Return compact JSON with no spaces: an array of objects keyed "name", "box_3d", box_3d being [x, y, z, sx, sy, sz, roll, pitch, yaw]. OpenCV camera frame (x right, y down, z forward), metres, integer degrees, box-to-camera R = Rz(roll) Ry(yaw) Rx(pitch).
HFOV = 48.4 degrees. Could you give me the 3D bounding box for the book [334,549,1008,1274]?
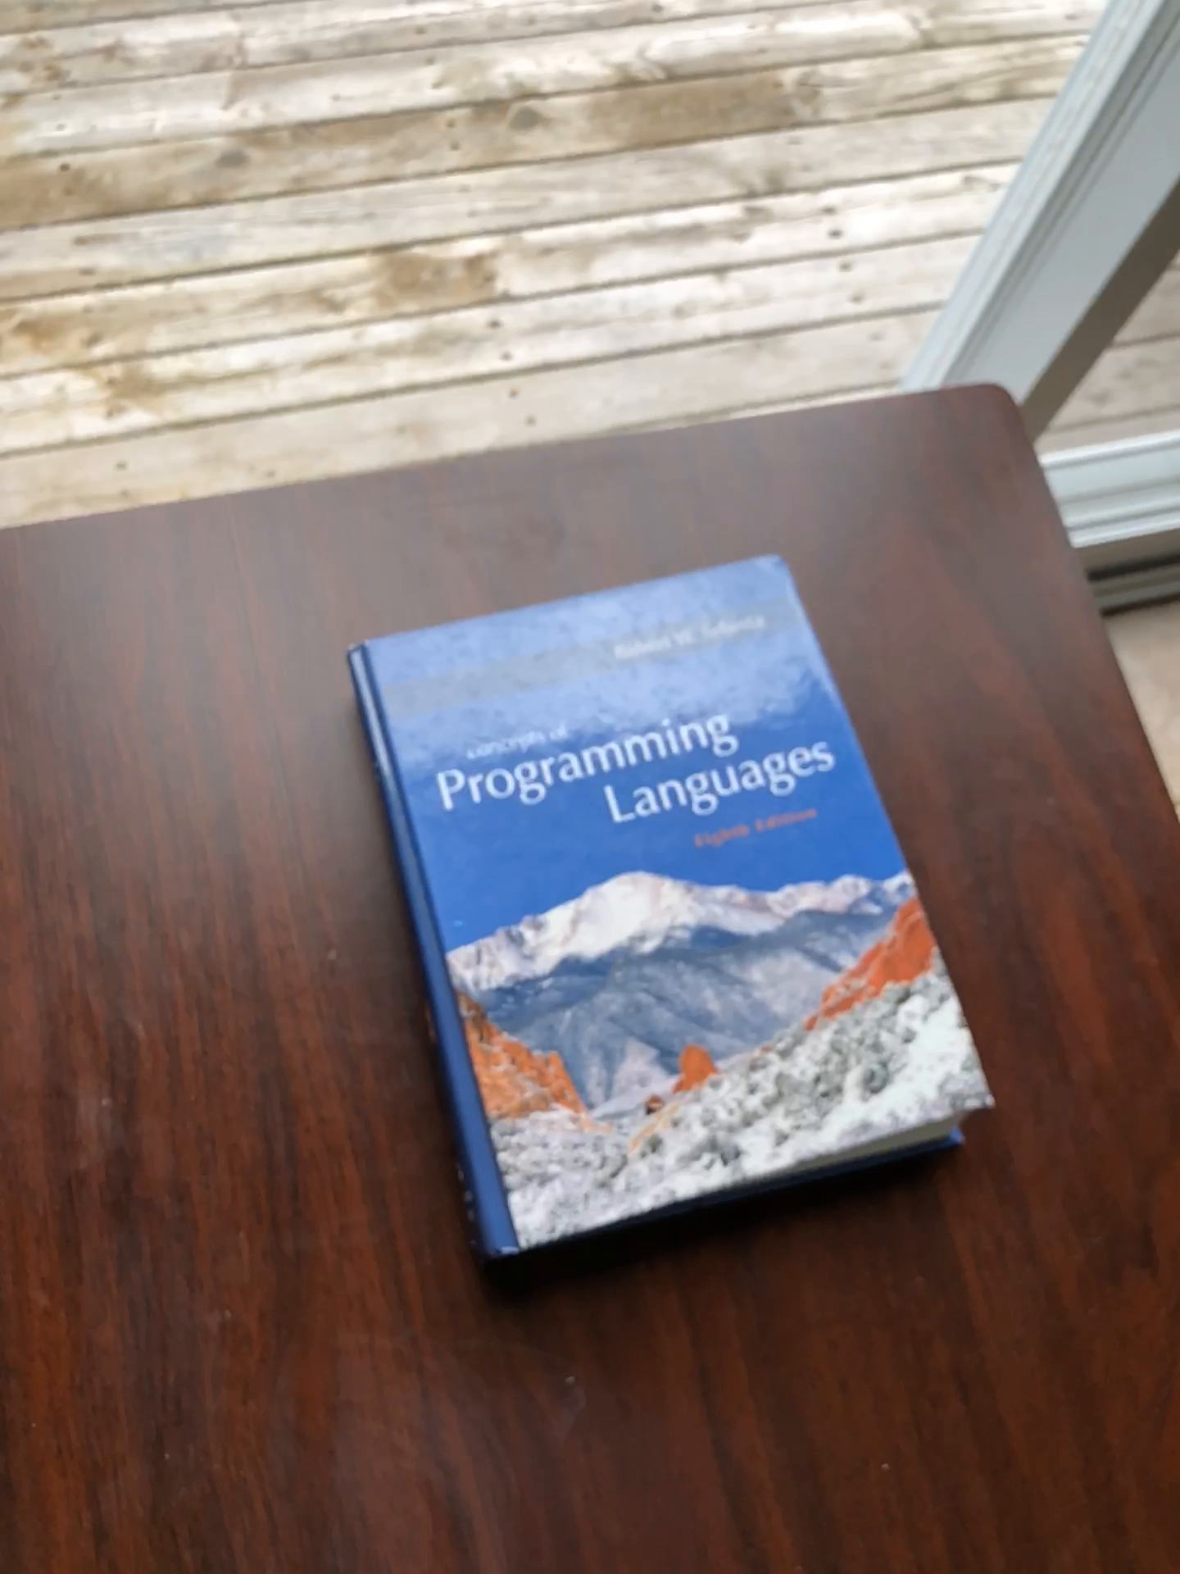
[{"name":"book","box_3d":[0.023,0.039,0.505,0.195,0.049,0.236,-12,72,-11]}]
